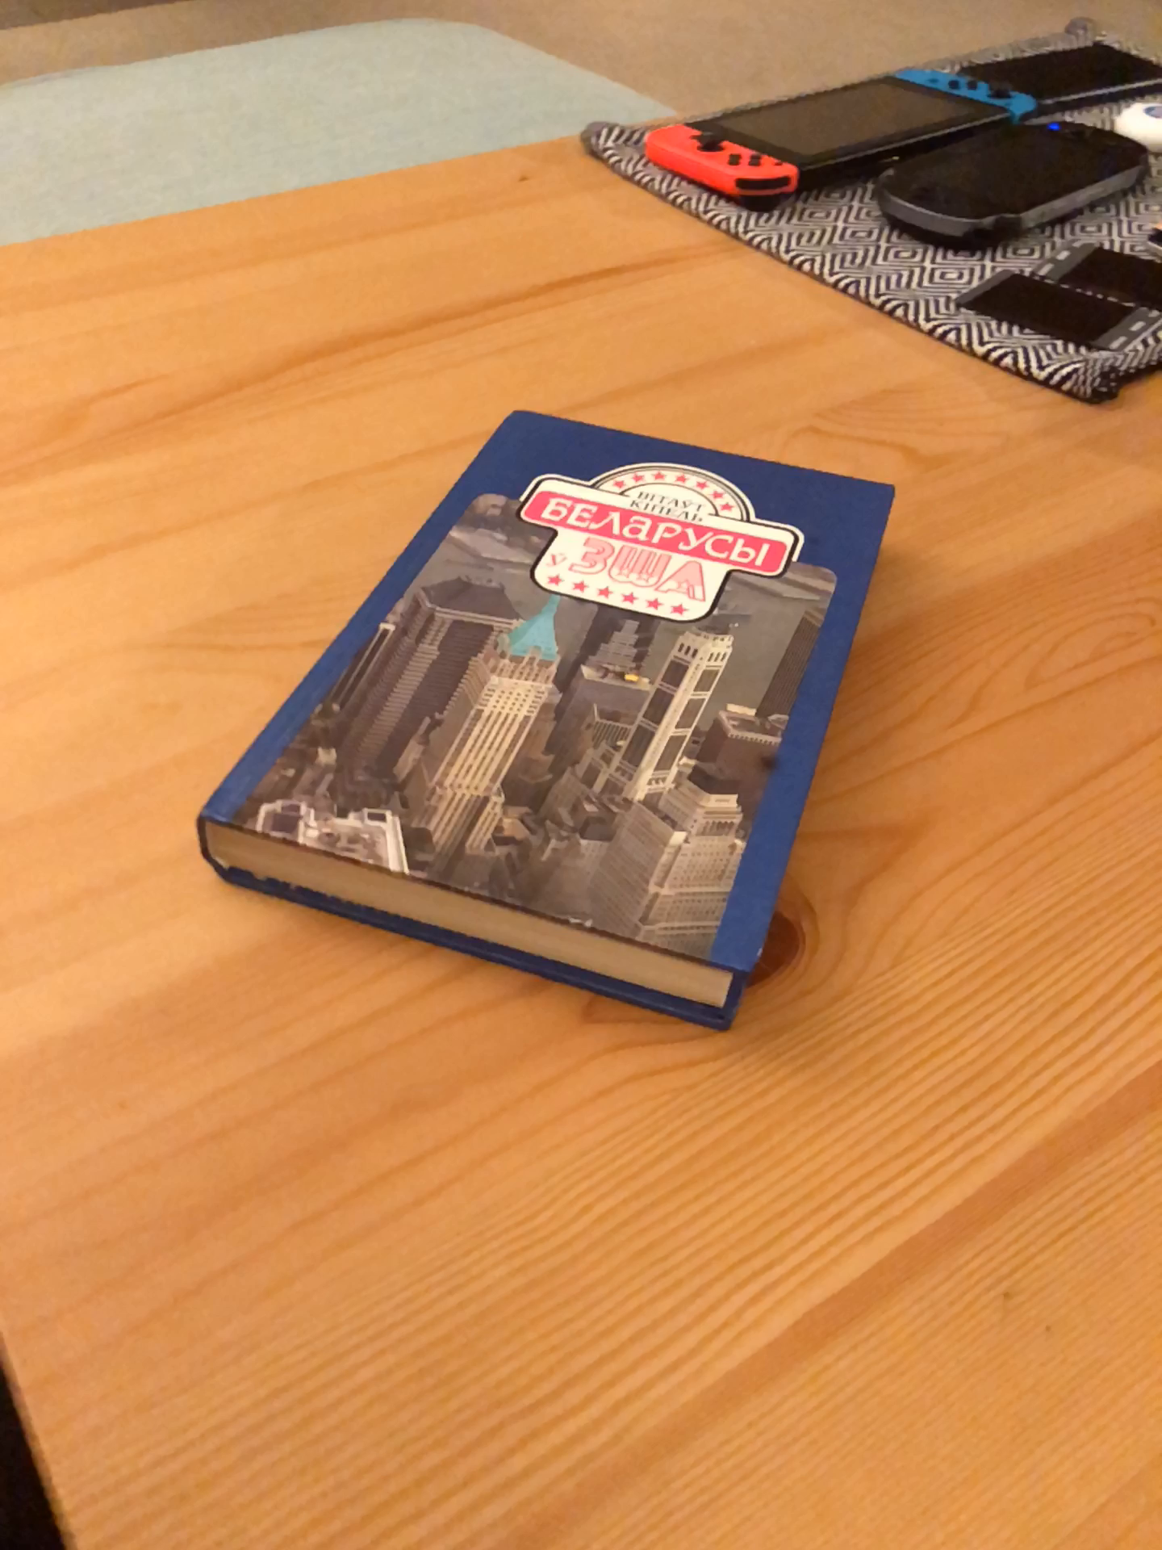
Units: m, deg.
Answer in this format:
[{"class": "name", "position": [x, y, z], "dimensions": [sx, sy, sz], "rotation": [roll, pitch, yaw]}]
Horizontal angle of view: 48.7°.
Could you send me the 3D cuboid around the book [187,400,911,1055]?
[{"class": "book", "position": [0.007, -0.035, 0.391], "dimensions": [0.146, 0.030, 0.225], "rotation": [15, 46, 13]}]
